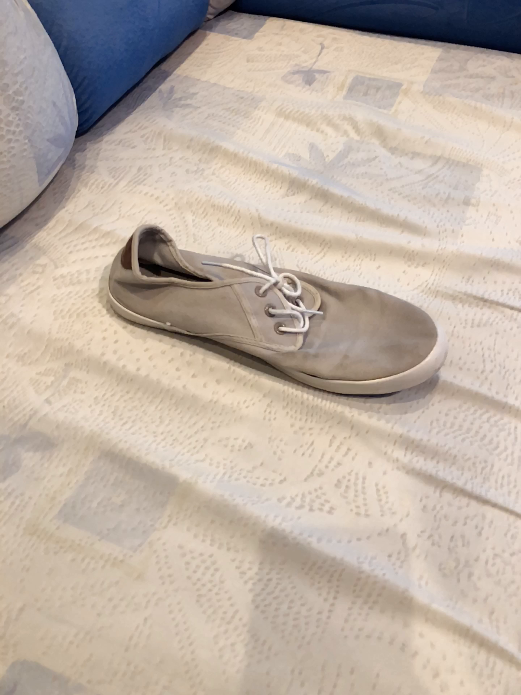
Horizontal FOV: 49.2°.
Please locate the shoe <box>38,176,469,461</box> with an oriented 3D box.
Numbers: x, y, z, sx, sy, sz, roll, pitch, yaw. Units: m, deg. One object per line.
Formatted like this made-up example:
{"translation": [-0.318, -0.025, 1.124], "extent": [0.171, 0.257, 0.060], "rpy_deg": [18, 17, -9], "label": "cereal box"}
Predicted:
{"translation": [-0.005, -0.029, 0.416], "extent": [0.270, 0.080, 0.111], "rpy_deg": [18, 54, 13], "label": "shoe"}
